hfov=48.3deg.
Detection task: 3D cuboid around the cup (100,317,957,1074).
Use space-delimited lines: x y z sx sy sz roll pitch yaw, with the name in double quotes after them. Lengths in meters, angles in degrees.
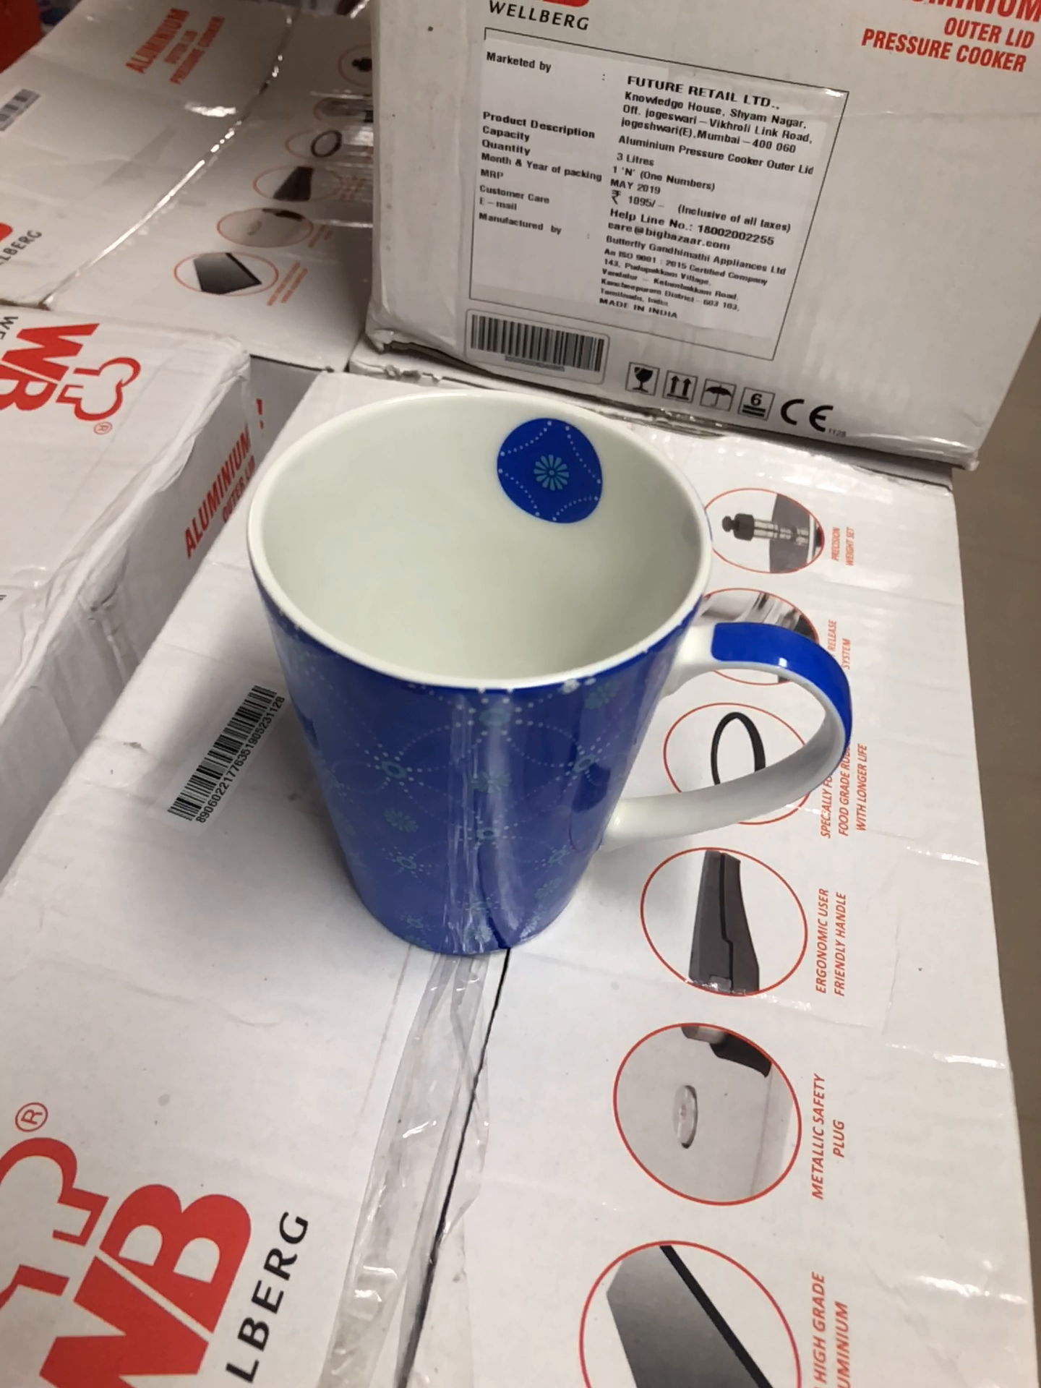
0.002 0.001 0.219 0.120 0.089 0.080 12 47 1 "cup"
